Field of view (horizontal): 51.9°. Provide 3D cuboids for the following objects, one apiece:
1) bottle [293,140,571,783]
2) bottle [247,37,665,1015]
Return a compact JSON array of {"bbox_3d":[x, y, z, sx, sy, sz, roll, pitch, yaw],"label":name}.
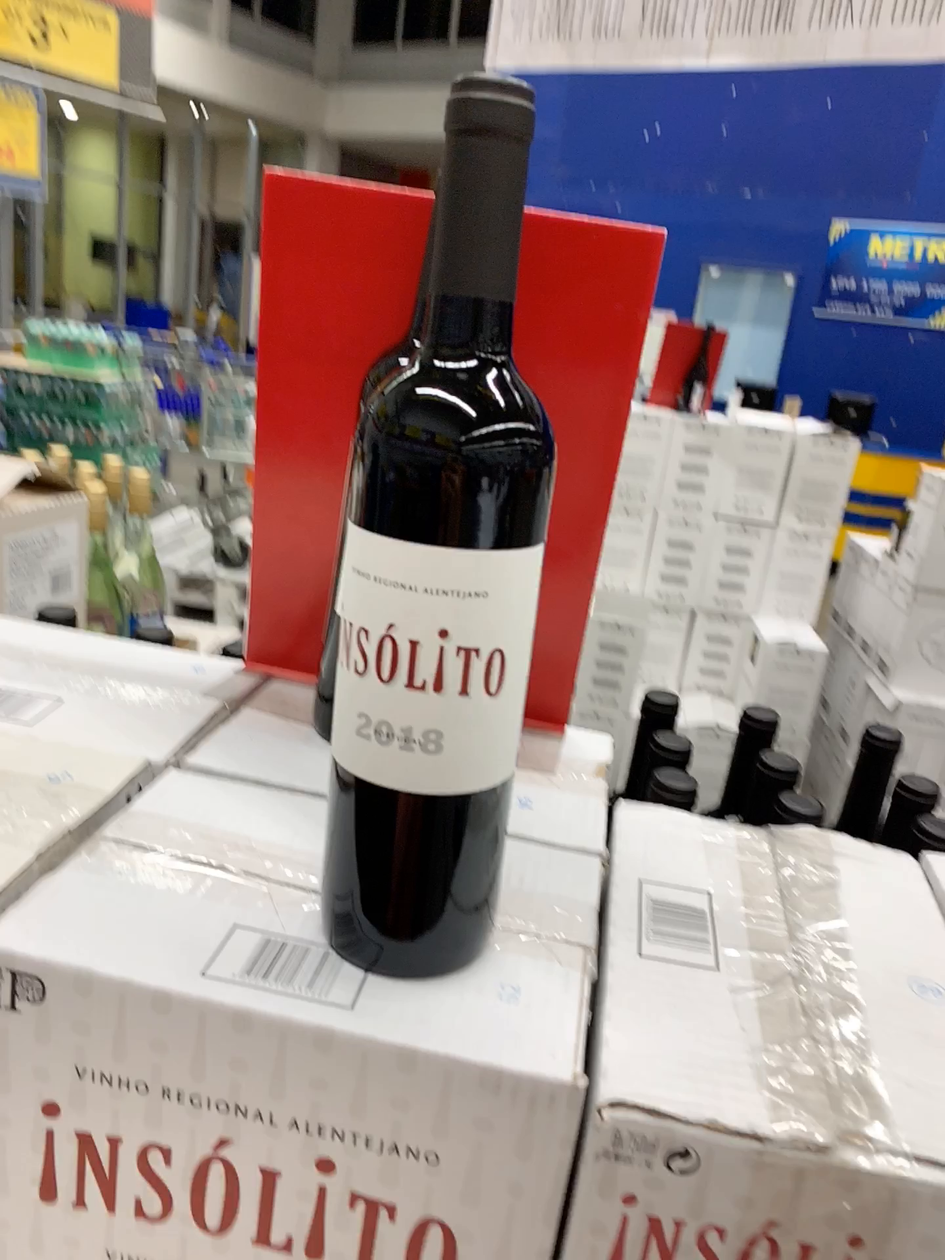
[{"bbox_3d":[-0.033,-0.082,0.532,0.090,0.318,0.090,10,21,-4],"label":"bottle"},{"bbox_3d":[-0.009,-0.029,0.358,0.090,0.309,0.090,8,17,-2],"label":"bottle"}]
